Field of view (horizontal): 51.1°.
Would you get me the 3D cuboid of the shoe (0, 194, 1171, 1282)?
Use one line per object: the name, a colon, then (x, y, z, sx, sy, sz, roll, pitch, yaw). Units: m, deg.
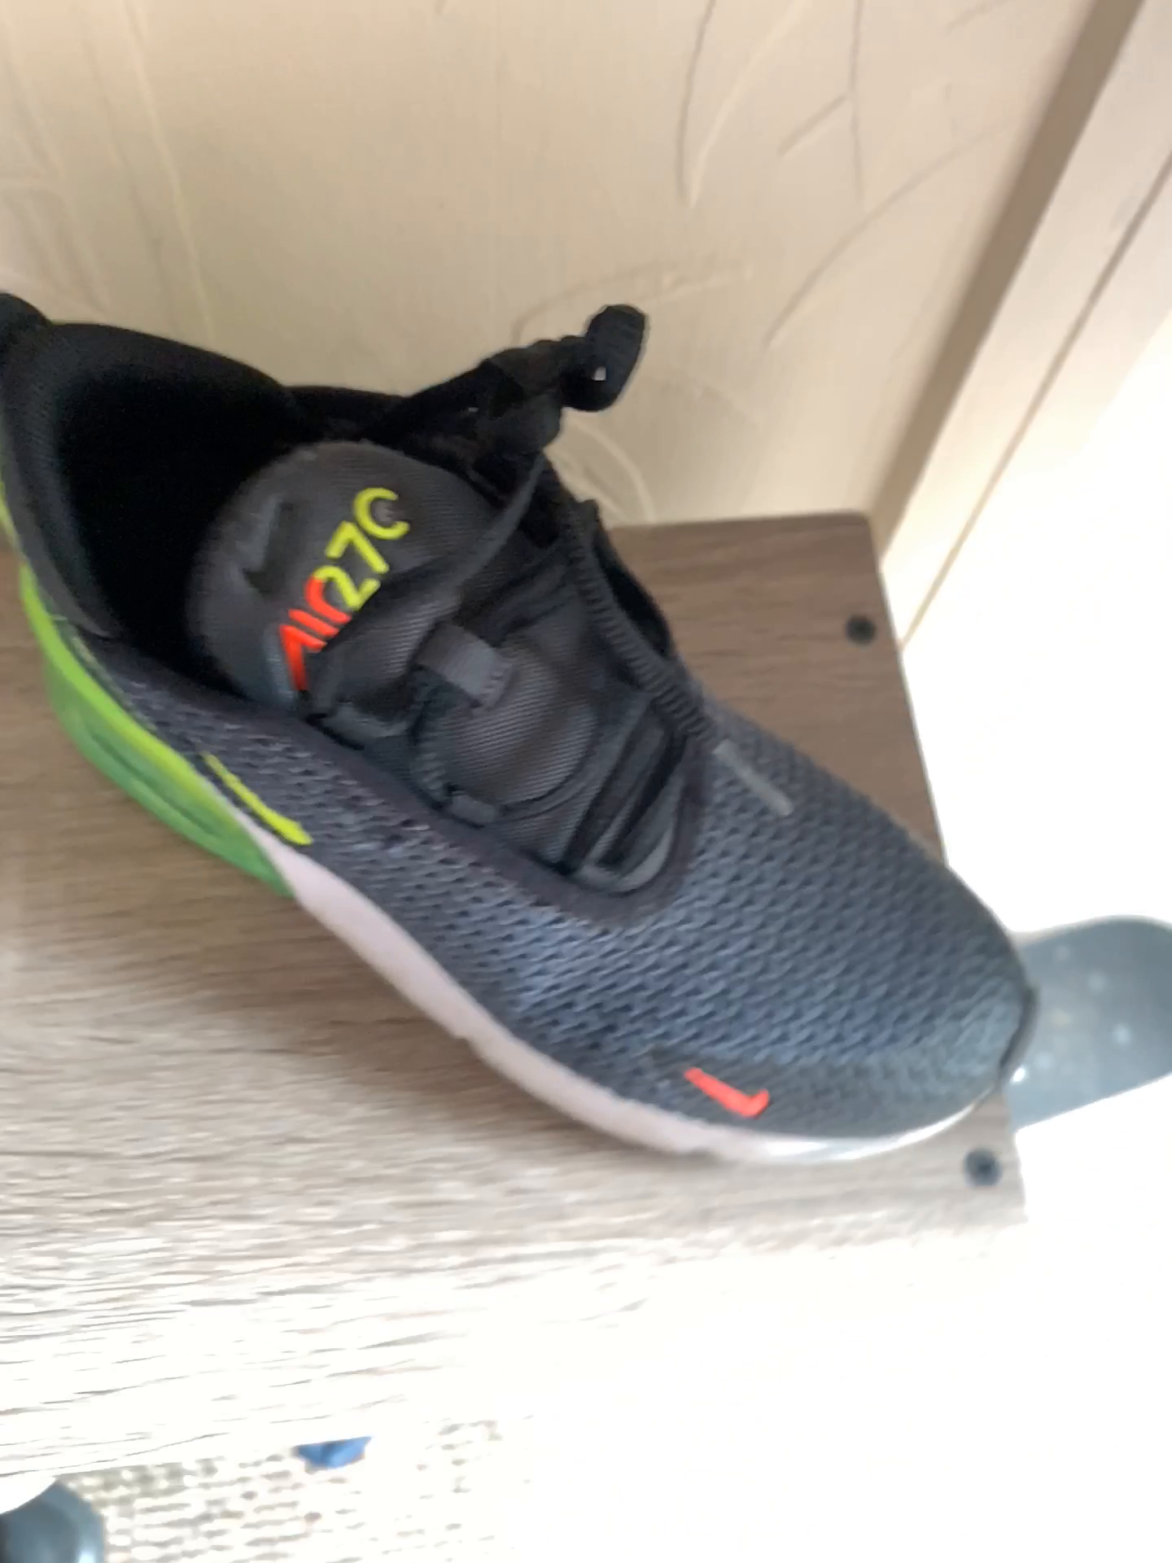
shoe: (-0.014, -0.003, 0.260, 0.247, 0.109, 0.090, 28, 67, 8)
